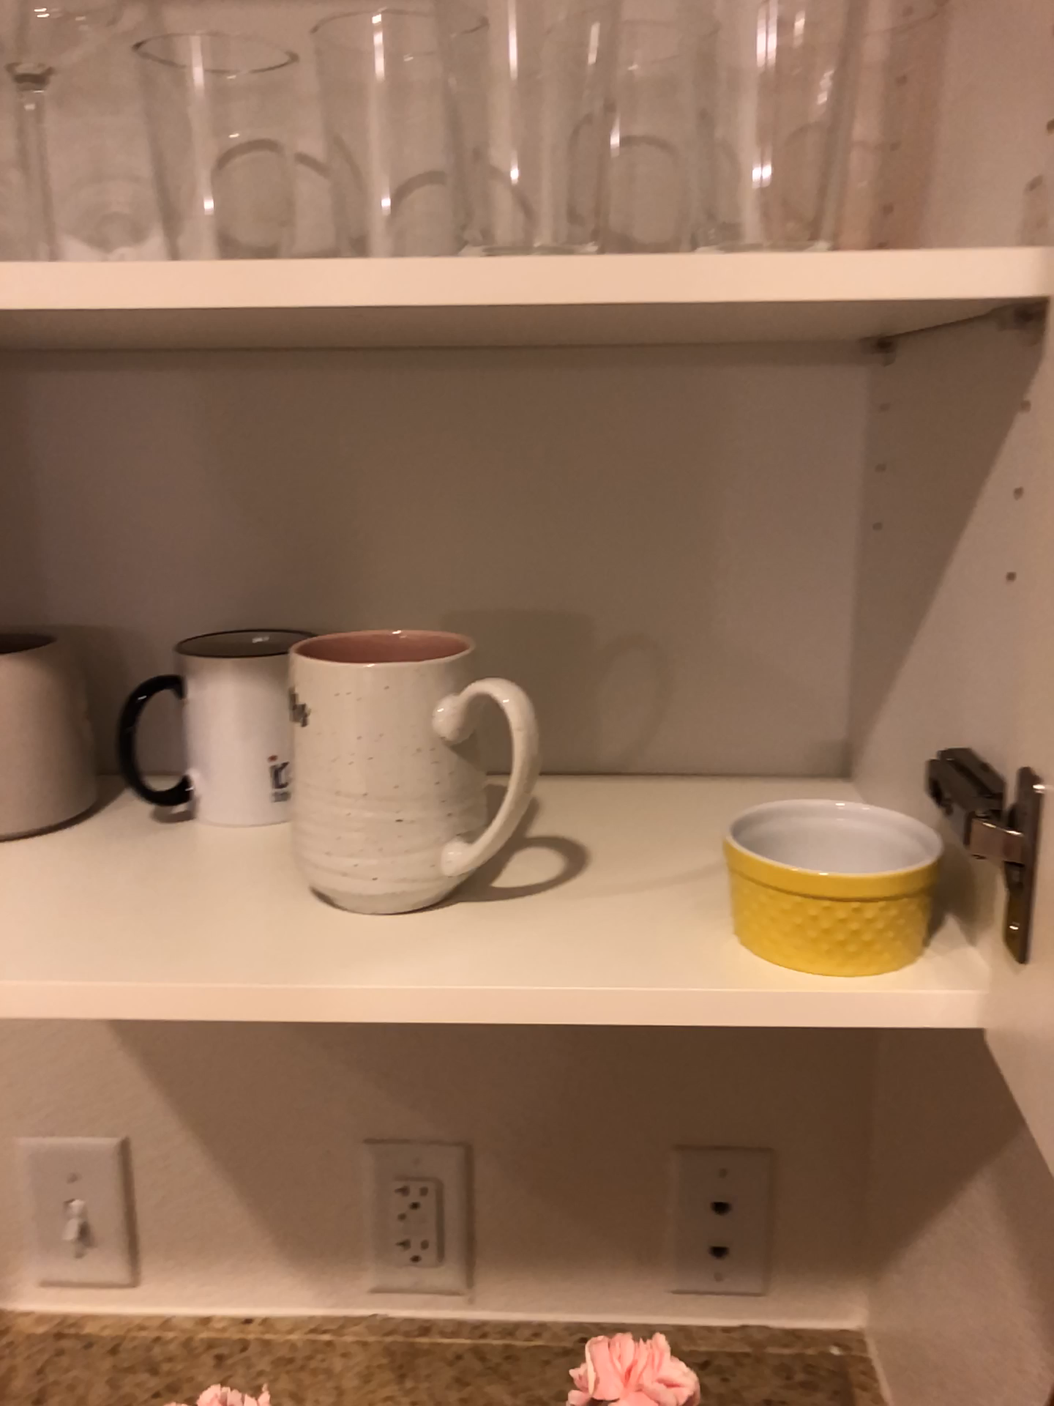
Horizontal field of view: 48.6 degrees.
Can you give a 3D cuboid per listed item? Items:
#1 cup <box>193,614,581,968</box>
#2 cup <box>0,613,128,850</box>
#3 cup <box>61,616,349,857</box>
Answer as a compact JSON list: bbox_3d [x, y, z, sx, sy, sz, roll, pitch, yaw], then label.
[{"bbox_3d":[-0.060,0.028,0.505,0.140,0.110,0.090,10,17,37],"label":"cup"},{"bbox_3d":[-0.297,0.009,0.639,0.110,0.090,0.151,-2,14,-5],"label":"cup"},{"bbox_3d":[-0.165,0.011,0.601,0.110,0.090,0.090,-11,17,-38],"label":"cup"}]
